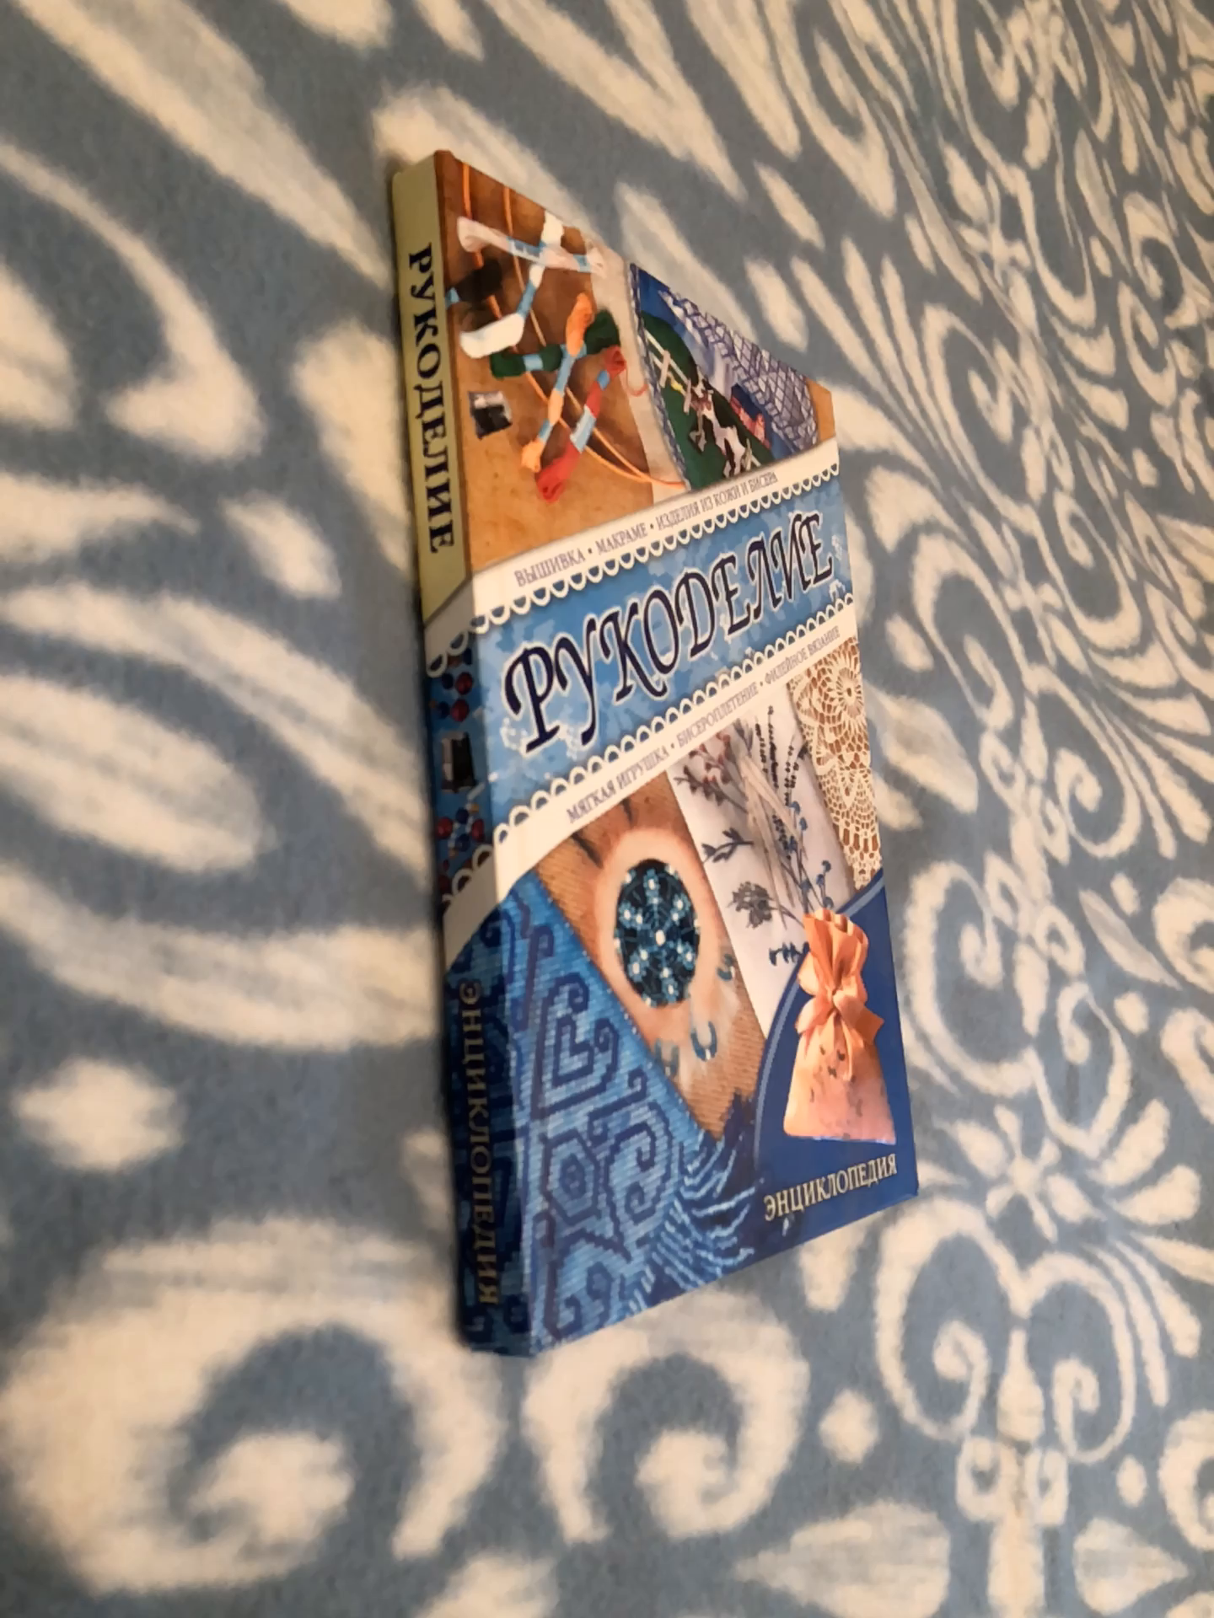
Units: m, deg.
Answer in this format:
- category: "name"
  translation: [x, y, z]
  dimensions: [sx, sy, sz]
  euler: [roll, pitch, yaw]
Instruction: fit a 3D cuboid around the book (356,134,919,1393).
- category: "book"
  translation: [0.017, -0.010, 0.321]
  dimensions: [0.169, 0.020, 0.237]
  euler: [5, 78, -53]
